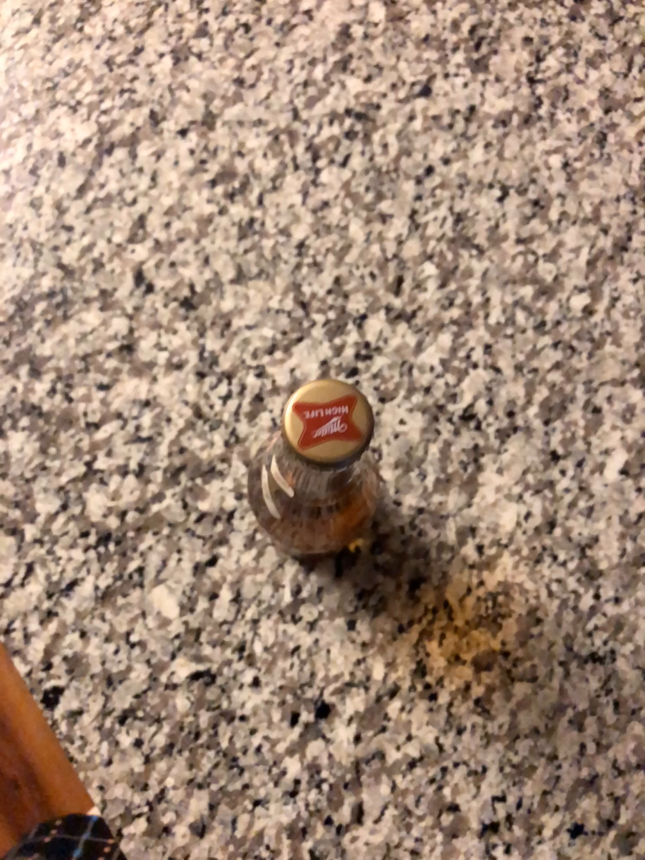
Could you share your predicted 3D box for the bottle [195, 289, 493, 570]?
[{"bbox_3d":[0.004,0.020,0.309,0.070,0.230,0.060,13,78,1],"label":"bottle"}]
